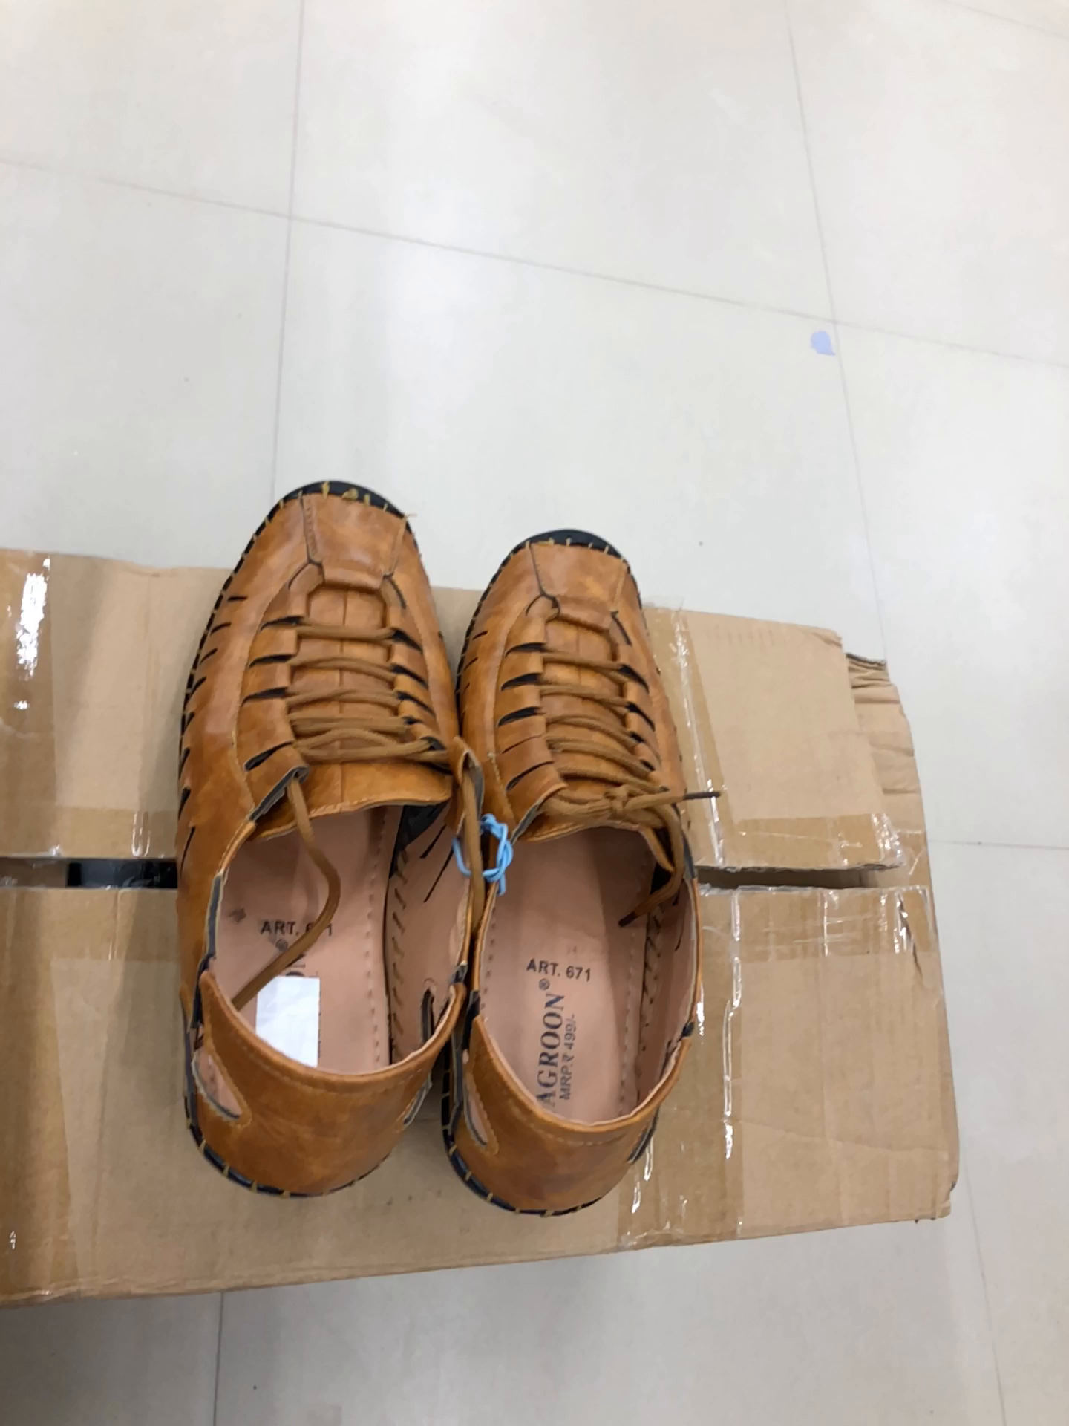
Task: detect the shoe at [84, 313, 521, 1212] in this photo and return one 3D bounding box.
[{"bbox_3d":[-0.077,0.021,0.428,0.110,0.120,0.291,7,66,-15],"label":"shoe"}]

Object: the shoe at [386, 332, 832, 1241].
[{"bbox_3d":[0.025,0.028,0.442,0.110,0.120,0.301,10,66,-14],"label":"shoe"}]
